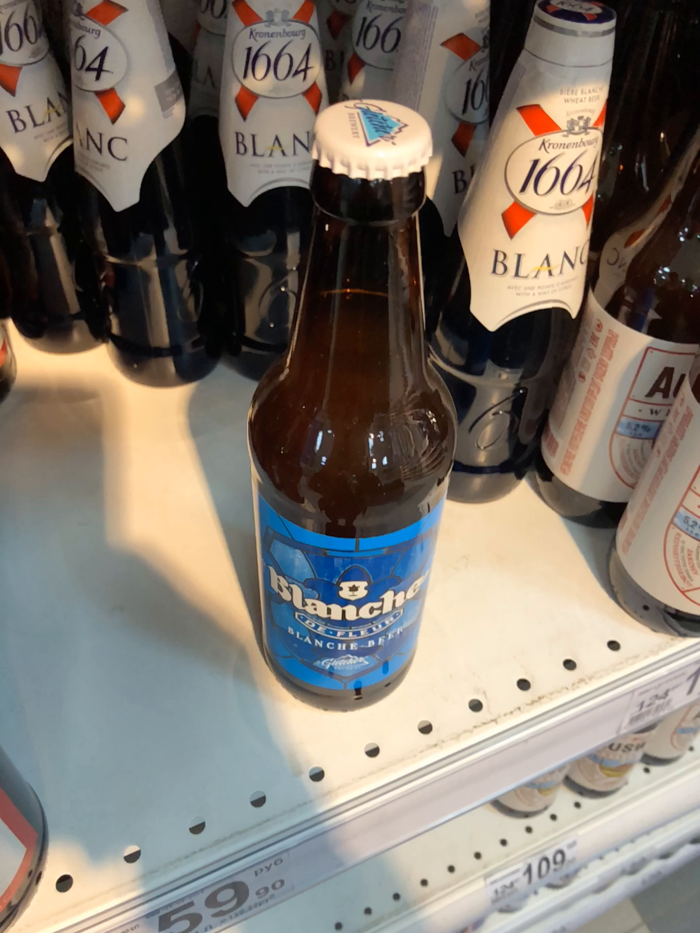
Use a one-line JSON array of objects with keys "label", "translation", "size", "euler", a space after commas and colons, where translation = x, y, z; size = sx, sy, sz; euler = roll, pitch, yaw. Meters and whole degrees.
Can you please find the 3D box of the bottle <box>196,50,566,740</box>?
[{"label": "bottle", "translation": [-0.002, 0.003, 0.264], "size": [0.070, 0.244, 0.070], "euler": [1, 48, -2]}]
